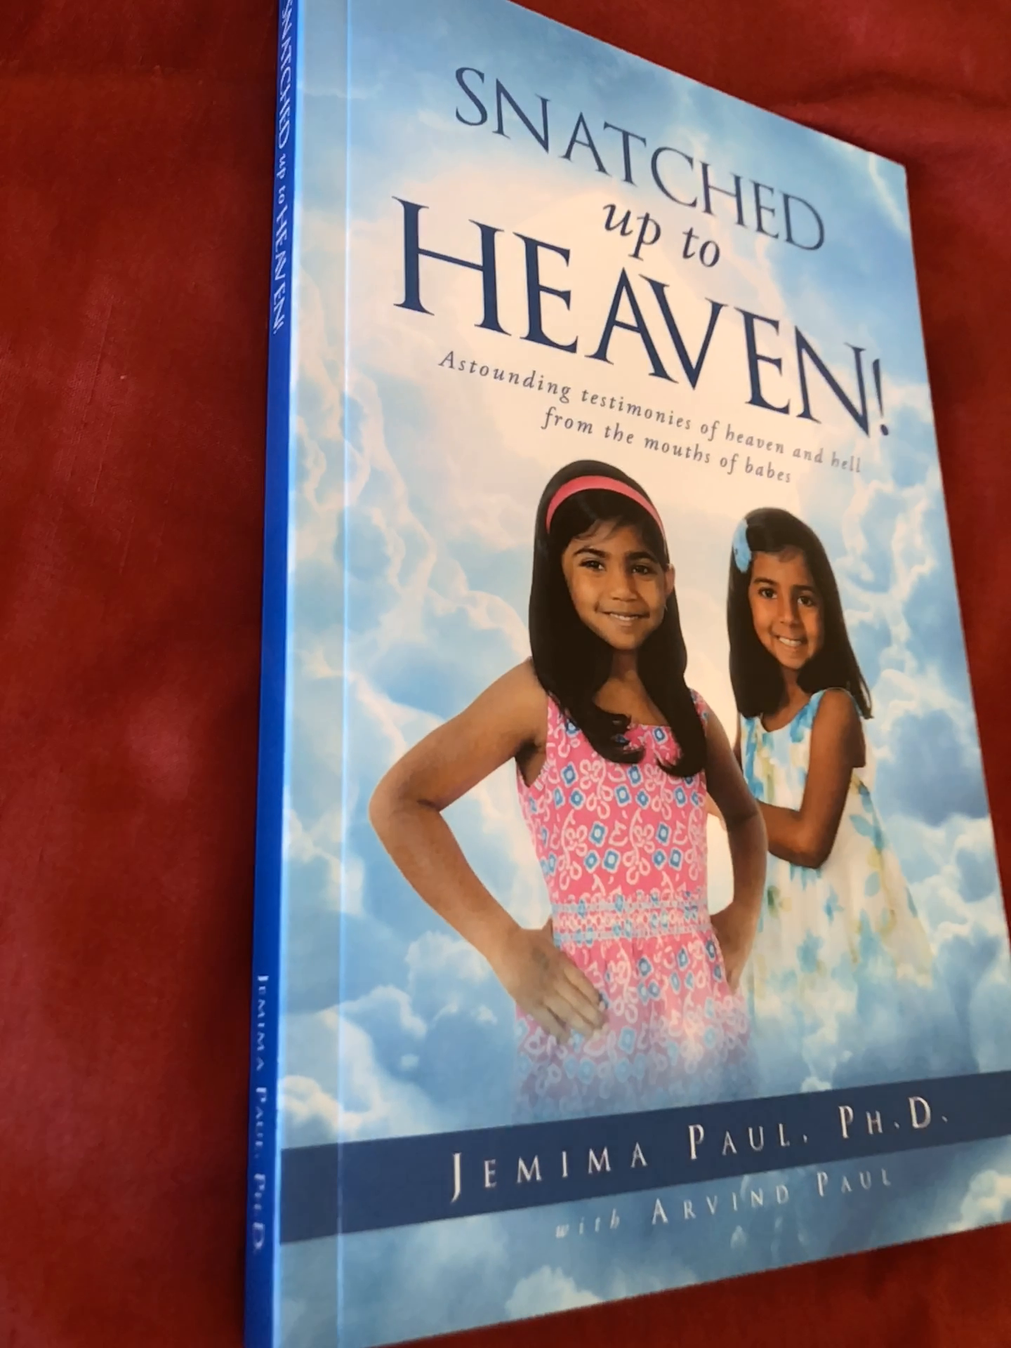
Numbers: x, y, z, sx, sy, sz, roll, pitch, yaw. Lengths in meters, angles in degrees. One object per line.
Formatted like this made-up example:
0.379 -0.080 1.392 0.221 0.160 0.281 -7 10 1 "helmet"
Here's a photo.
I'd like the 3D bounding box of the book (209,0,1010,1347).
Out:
0.026 -0.013 0.196 0.141 0.020 0.212 6 74 -27 "book"
